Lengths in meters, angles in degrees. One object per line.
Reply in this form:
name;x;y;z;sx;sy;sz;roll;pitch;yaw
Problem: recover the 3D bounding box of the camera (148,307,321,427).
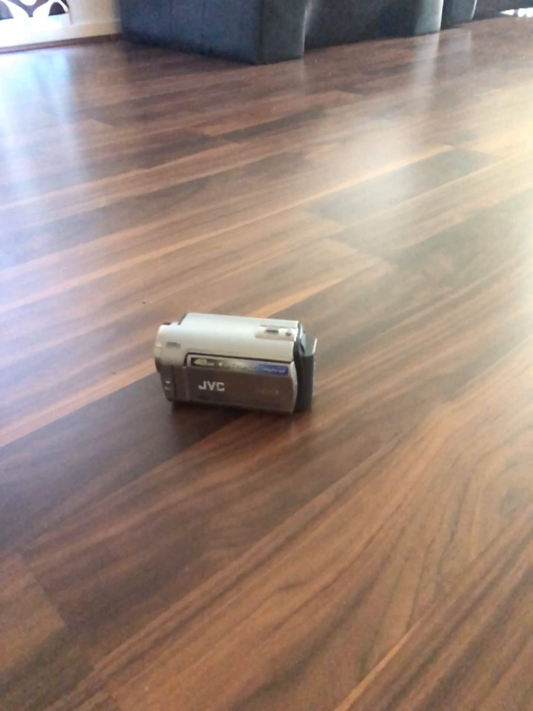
camera;-0.021;0.007;0.462;0.120;0.060;0.060;6;35;12
